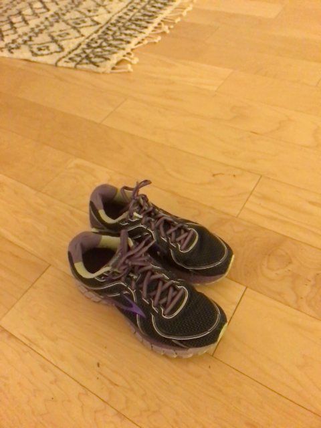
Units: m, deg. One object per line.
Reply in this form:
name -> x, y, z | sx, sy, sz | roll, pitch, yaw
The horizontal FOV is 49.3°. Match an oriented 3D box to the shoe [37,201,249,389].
shoe -> -0.031, 0.101, 0.509 | 0.281, 0.079, 0.121 | 27, 57, 27

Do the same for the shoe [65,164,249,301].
shoe -> -0.007, 0.020, 0.585 | 0.270, 0.079, 0.121 | 21, 55, 23
